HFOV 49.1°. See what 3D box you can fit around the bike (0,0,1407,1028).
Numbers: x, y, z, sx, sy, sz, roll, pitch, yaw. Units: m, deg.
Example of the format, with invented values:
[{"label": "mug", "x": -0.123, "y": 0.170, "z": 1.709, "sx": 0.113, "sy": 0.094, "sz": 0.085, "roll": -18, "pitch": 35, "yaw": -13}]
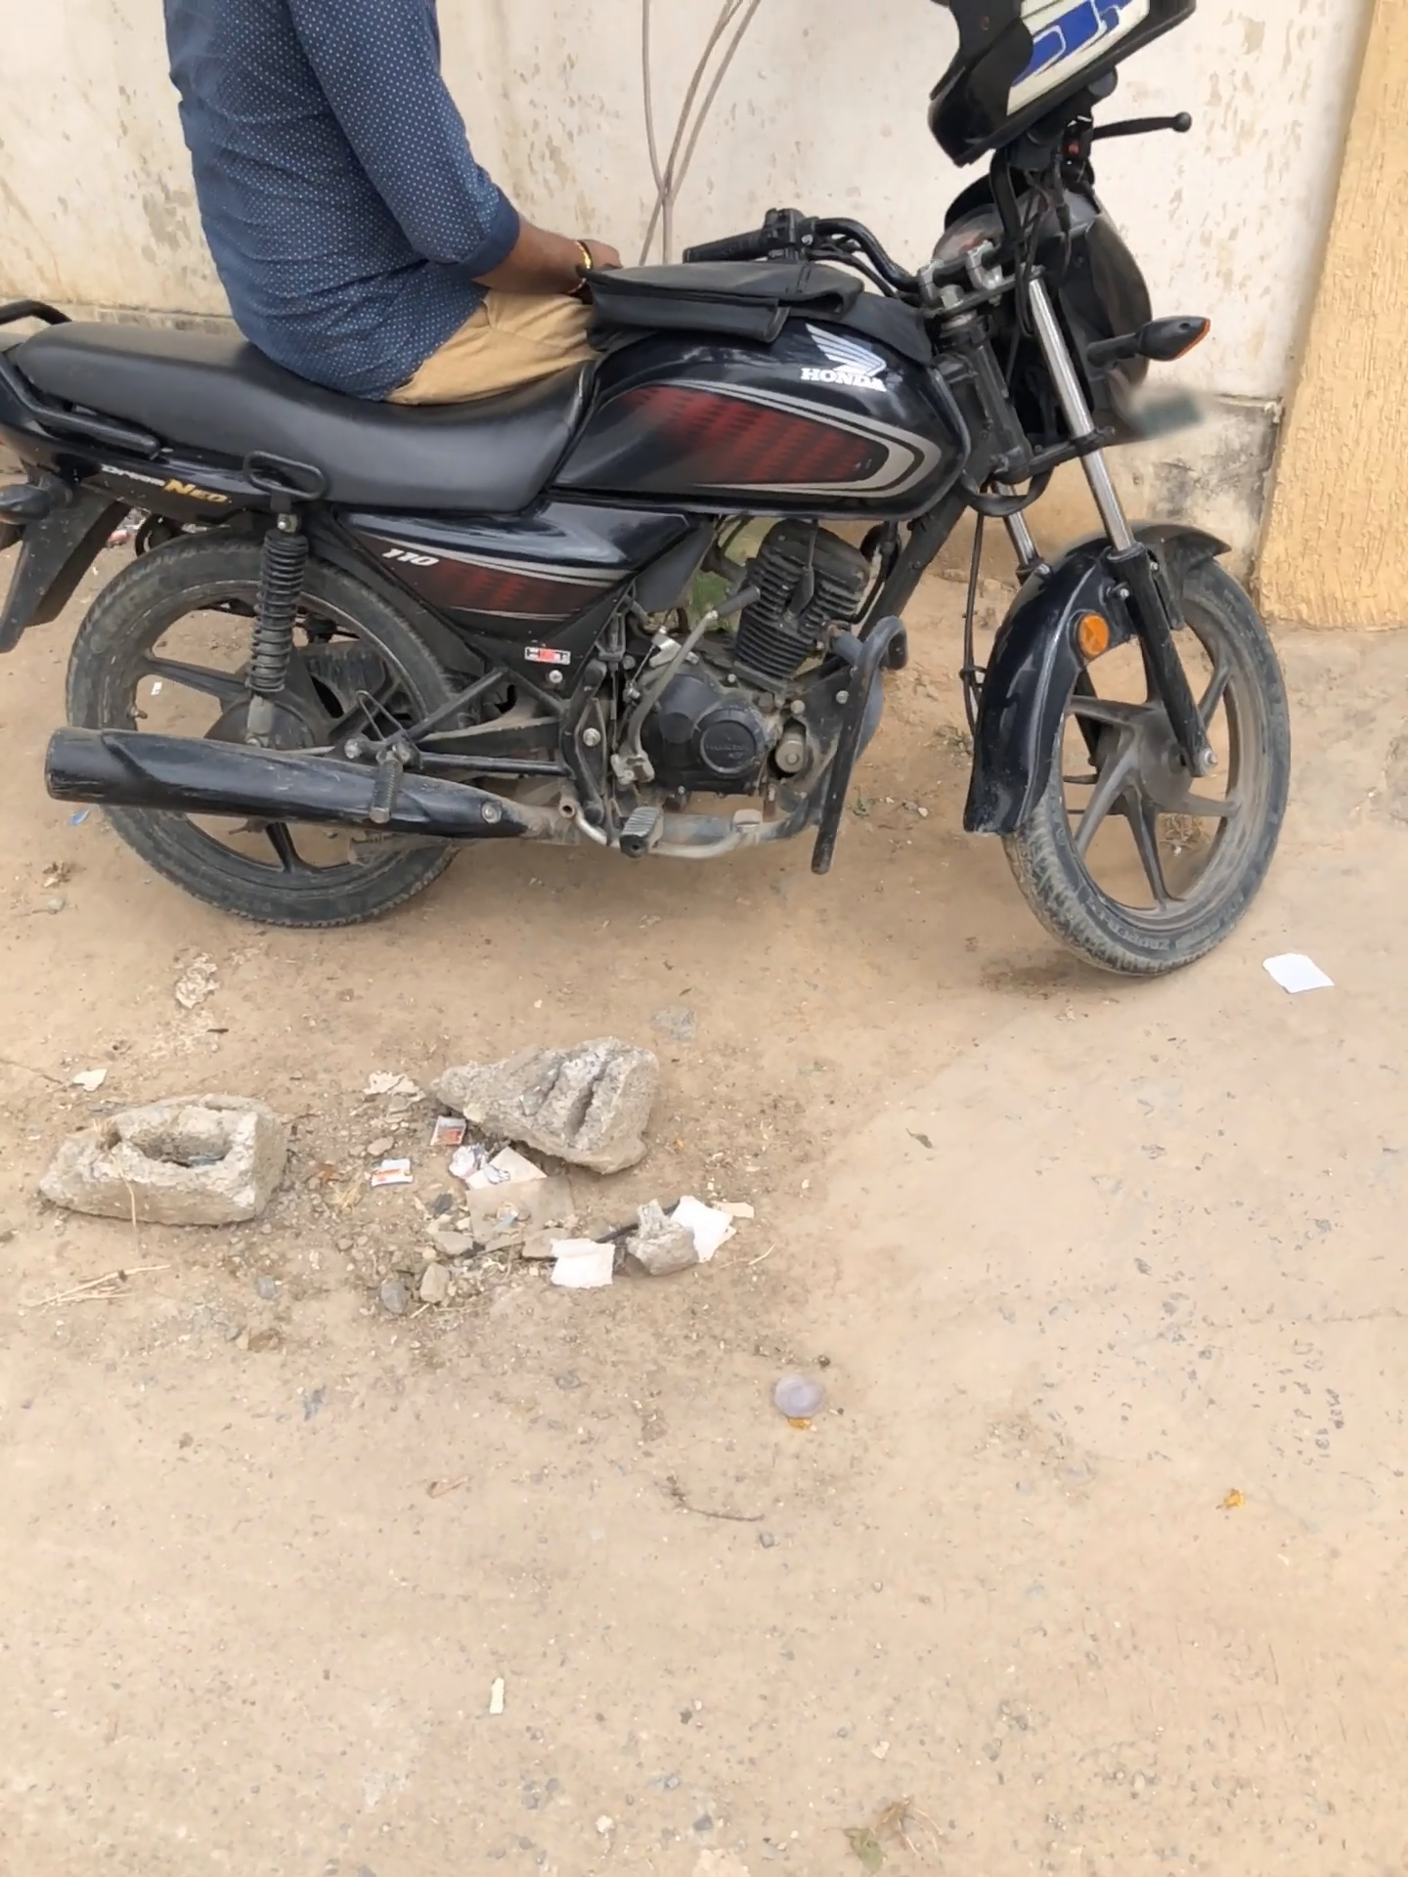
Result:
[{"label": "bike", "x": -0.012, "y": -0.587, "z": 2.097, "sx": 1.664, "sy": 1.070, "sz": 0.725, "roll": -4, "pitch": 37, "yaw": -3}]
